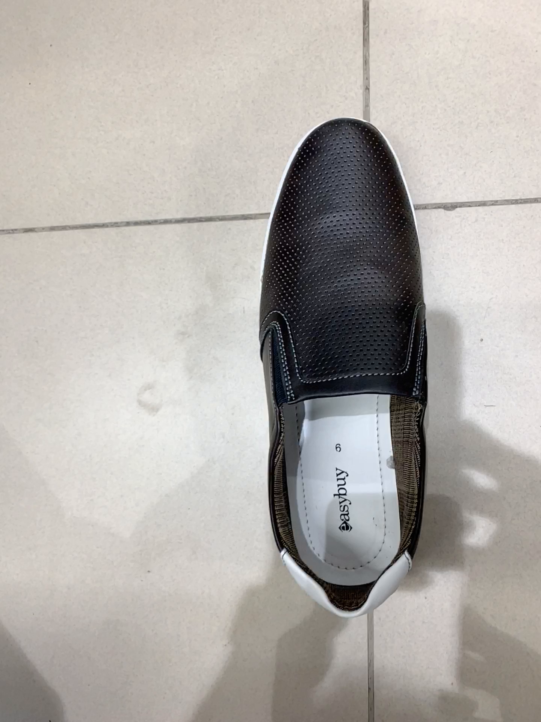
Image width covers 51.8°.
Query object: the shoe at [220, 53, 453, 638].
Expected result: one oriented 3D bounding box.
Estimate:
[{"bbox_3d":[0.040,-0.007,0.340,0.110,0.090,0.300,-3,87,12],"label":"shoe"}]
